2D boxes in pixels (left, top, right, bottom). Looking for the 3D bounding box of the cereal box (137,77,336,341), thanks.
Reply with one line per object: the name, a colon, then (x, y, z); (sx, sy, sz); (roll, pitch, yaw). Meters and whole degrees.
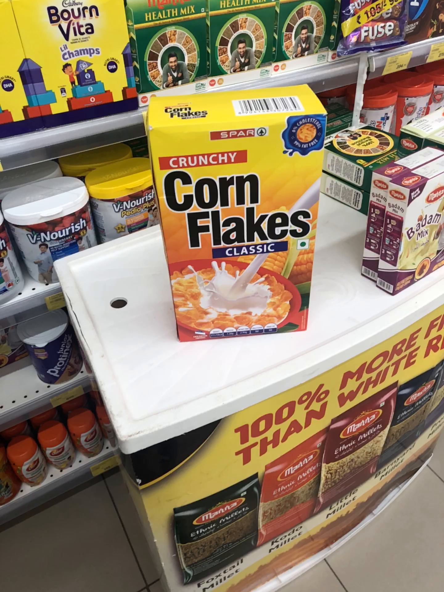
cereal box: (0.018, -0.093, 0.629); (0.200, 0.319, 0.090); (-5, 41, -2)
